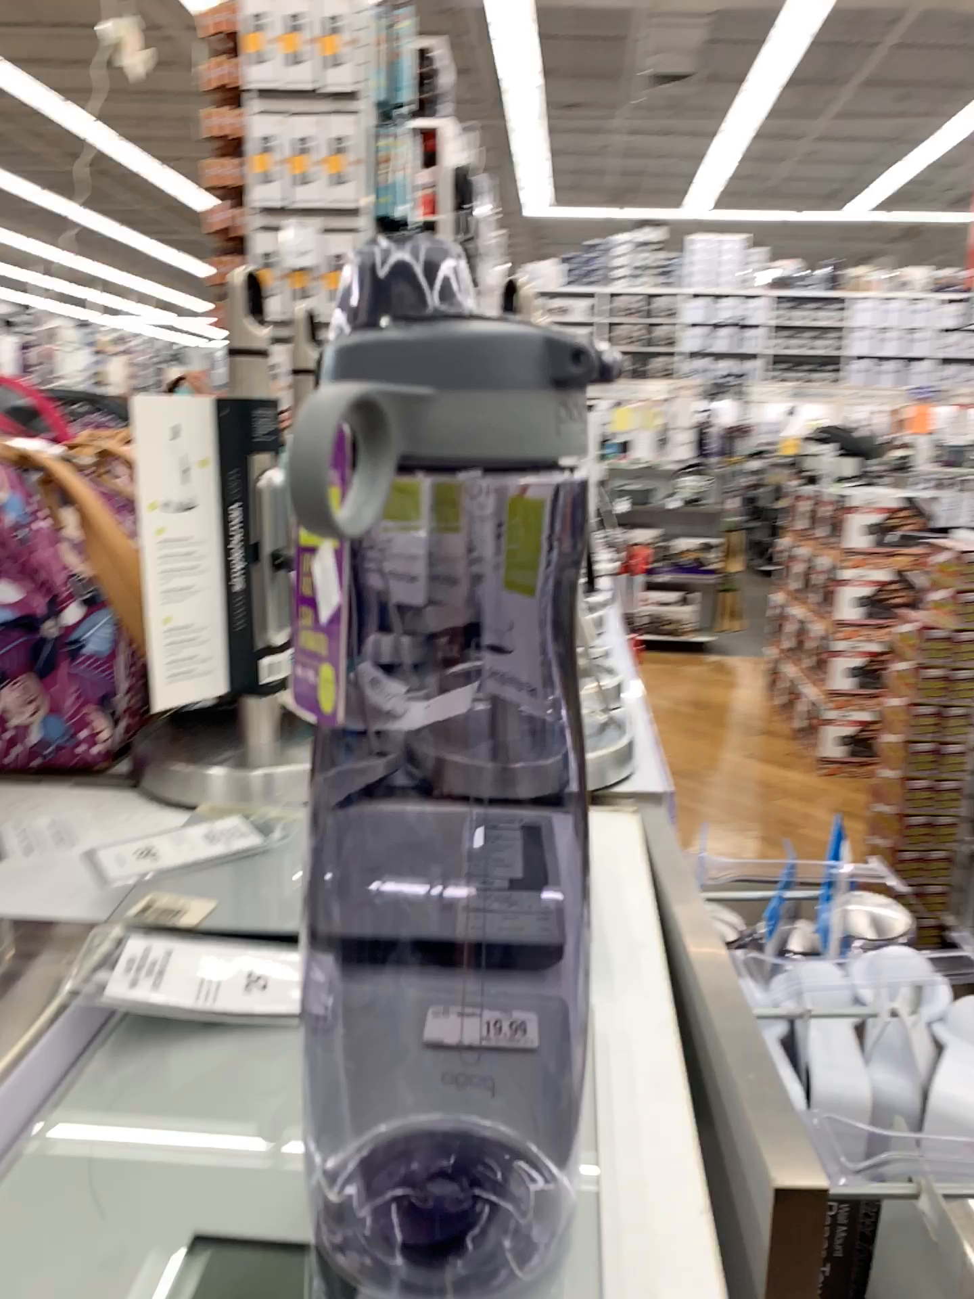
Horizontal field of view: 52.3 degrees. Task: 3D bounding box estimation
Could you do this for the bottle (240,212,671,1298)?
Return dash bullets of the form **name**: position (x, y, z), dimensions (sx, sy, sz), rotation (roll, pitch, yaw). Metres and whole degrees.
- **bottle**: position (-0.004, 0.042, 0.306), dimensions (0.100, 0.309, 0.100), rotation (2, 12, 0)
